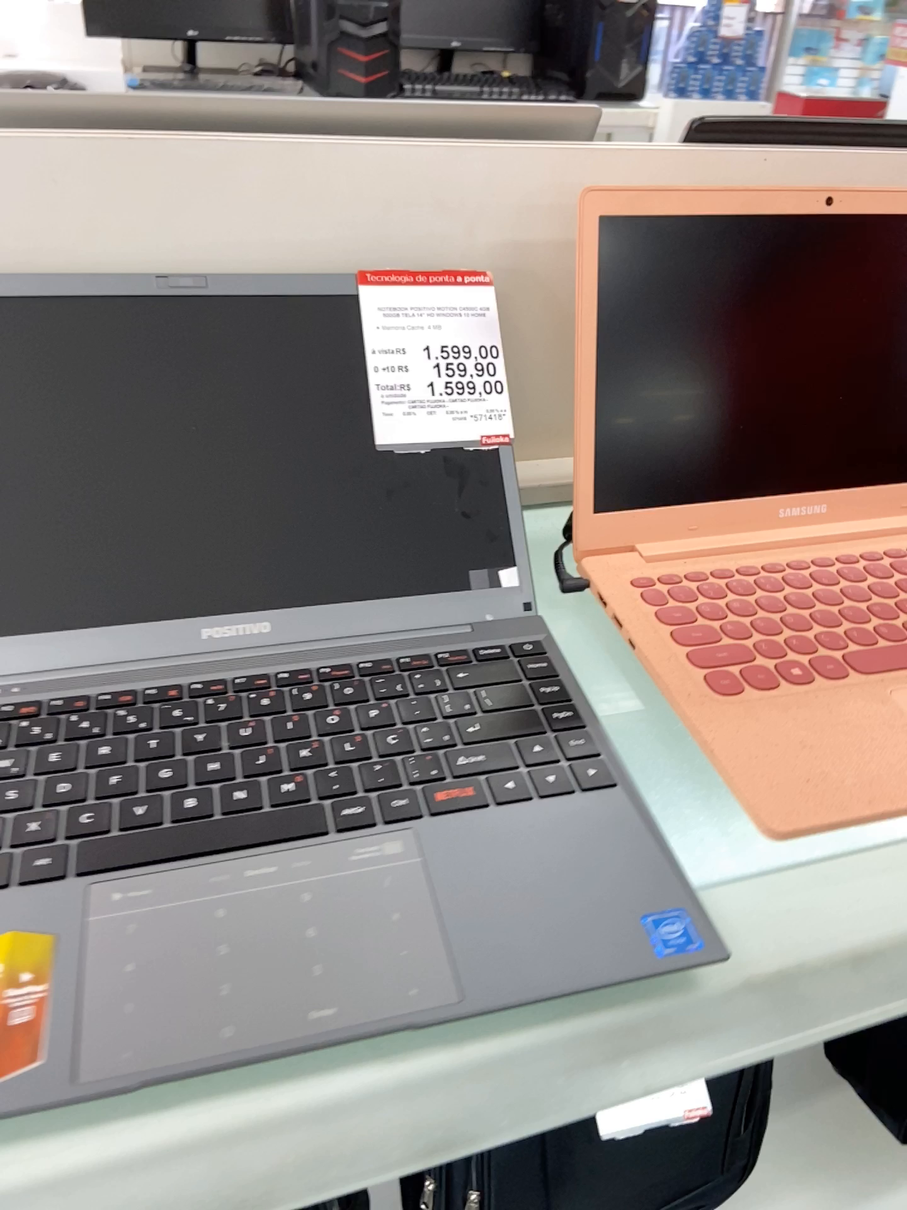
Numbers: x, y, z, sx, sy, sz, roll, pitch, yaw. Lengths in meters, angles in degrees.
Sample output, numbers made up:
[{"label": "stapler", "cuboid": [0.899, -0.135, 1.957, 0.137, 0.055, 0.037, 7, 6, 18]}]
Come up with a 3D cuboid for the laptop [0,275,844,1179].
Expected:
[{"label": "laptop", "cuboid": [-0.098, -0.016, 0.412, 0.333, 0.144, 0.368, -6, 36, -14]}]
